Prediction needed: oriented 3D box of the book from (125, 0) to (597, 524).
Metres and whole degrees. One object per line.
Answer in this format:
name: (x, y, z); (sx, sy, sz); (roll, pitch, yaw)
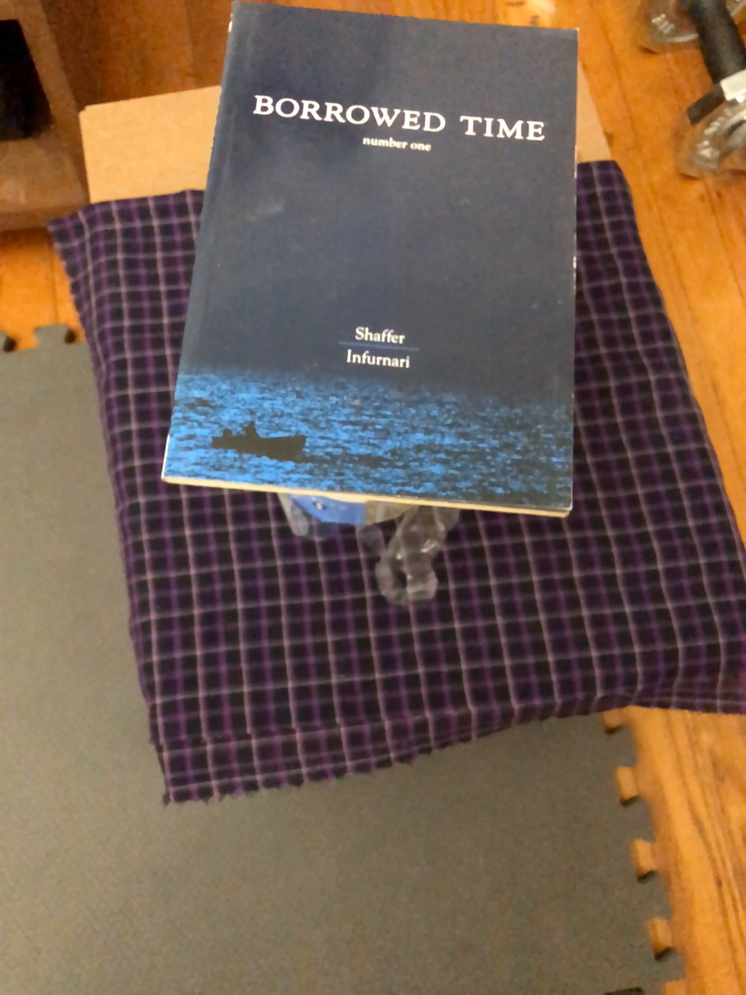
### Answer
book: (0.005, -0.108, 0.322); (0.160, 0.010, 0.230); (5, 72, -1)
